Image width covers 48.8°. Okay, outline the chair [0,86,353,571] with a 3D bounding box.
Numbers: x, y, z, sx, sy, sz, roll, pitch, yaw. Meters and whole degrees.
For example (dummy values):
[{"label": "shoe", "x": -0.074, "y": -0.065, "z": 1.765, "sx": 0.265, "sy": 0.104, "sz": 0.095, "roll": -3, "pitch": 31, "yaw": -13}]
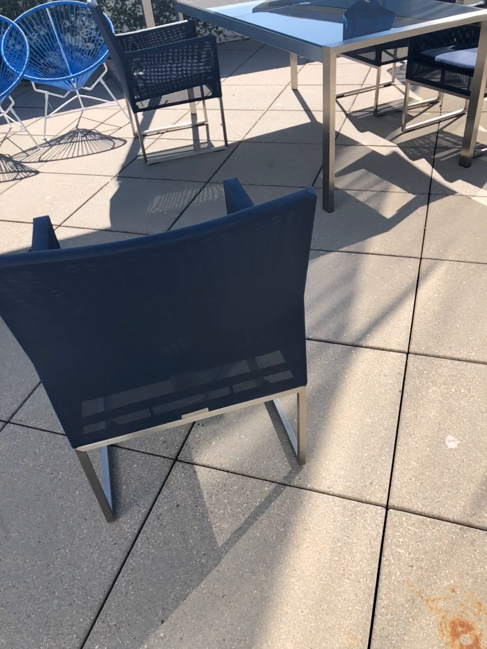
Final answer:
[{"label": "chair", "x": -0.198, "y": -0.023, "z": 1.273, "sx": 0.650, "sy": 0.776, "sz": 0.674, "roll": -14, "pitch": 39, "yaw": -9}]
